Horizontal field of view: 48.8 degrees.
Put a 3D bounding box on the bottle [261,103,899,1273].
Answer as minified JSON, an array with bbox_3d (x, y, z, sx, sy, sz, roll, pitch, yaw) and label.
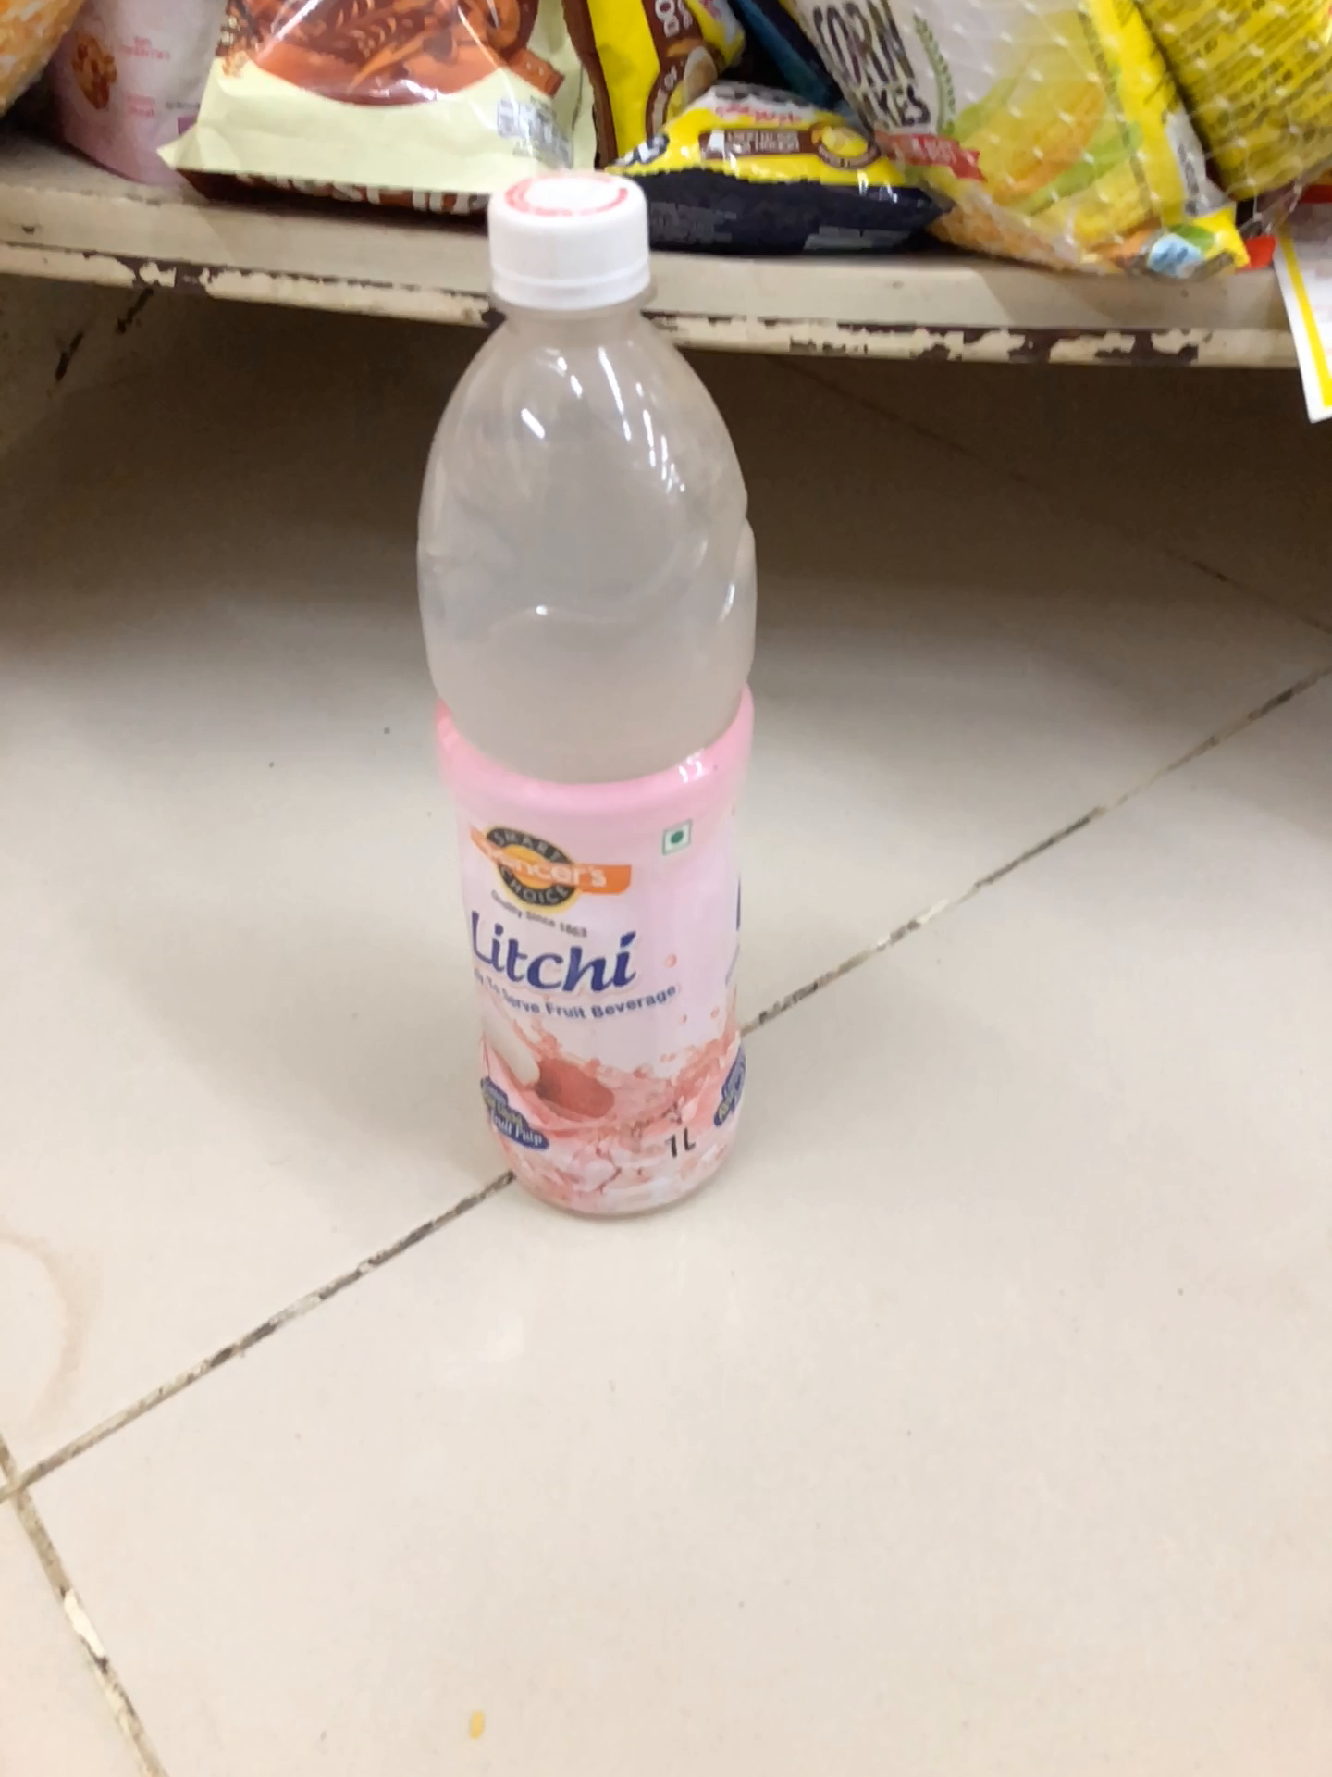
[{"bbox_3d":[-0.008,-0.029,0.325,0.080,0.238,0.081,-1,41,1],"label":"bottle"}]
